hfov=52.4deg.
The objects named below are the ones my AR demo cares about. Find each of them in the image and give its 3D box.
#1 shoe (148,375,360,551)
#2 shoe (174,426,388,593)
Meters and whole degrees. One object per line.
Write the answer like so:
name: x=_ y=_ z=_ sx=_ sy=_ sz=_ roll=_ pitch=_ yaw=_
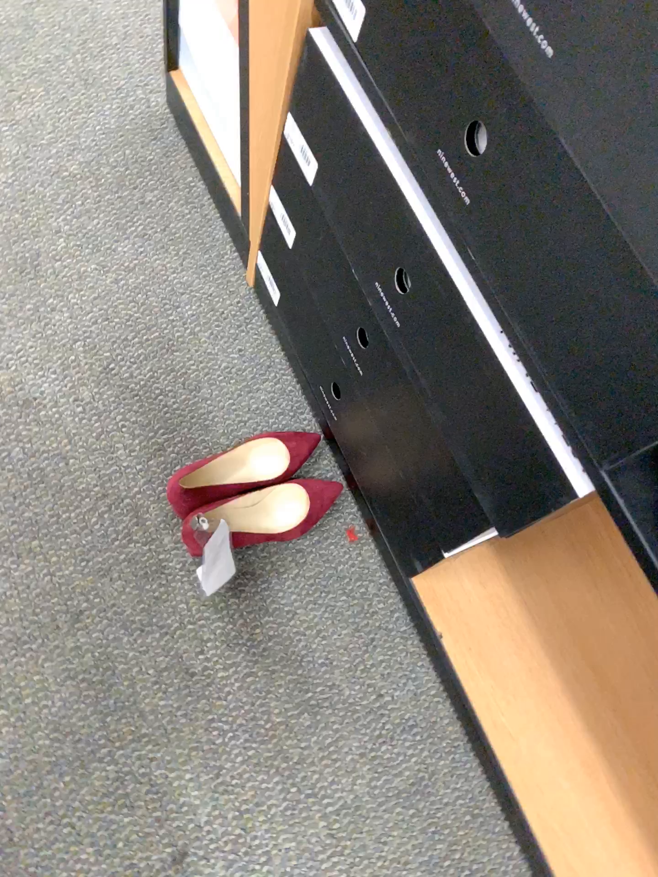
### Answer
shoe: x=-0.108 y=0.038 z=0.924 sx=0.250 sy=0.200 sz=0.090 roll=-25 pitch=76 yaw=-21
shoe: x=-0.075 y=0.102 z=0.912 sx=0.250 sy=0.200 sz=0.090 roll=-21 pitch=75 yaw=-20
